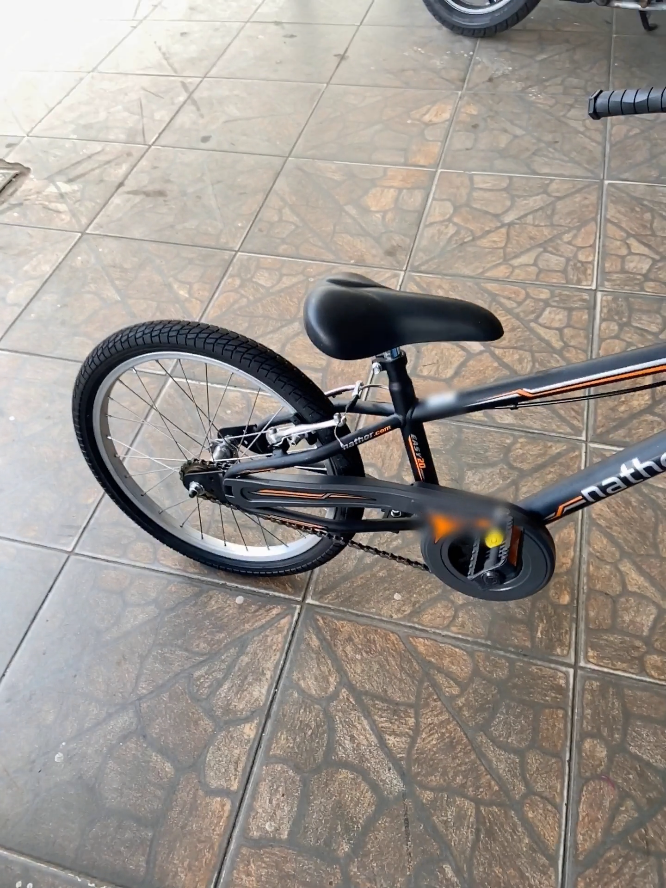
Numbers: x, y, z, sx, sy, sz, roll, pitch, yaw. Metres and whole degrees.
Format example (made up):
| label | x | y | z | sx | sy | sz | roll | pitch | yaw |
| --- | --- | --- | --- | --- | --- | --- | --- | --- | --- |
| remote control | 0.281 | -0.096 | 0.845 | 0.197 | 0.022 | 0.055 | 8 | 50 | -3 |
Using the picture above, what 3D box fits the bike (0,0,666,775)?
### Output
| label | x | y | z | sx | sy | sz | roll | pitch | yaw |
| --- | --- | --- | --- | --- | --- | --- | --- | --- | --- |
| bike | 0.237 | -0.133 | 0.921 | 1.349 | 0.980 | 0.726 | 5 | 54 | 7 |
